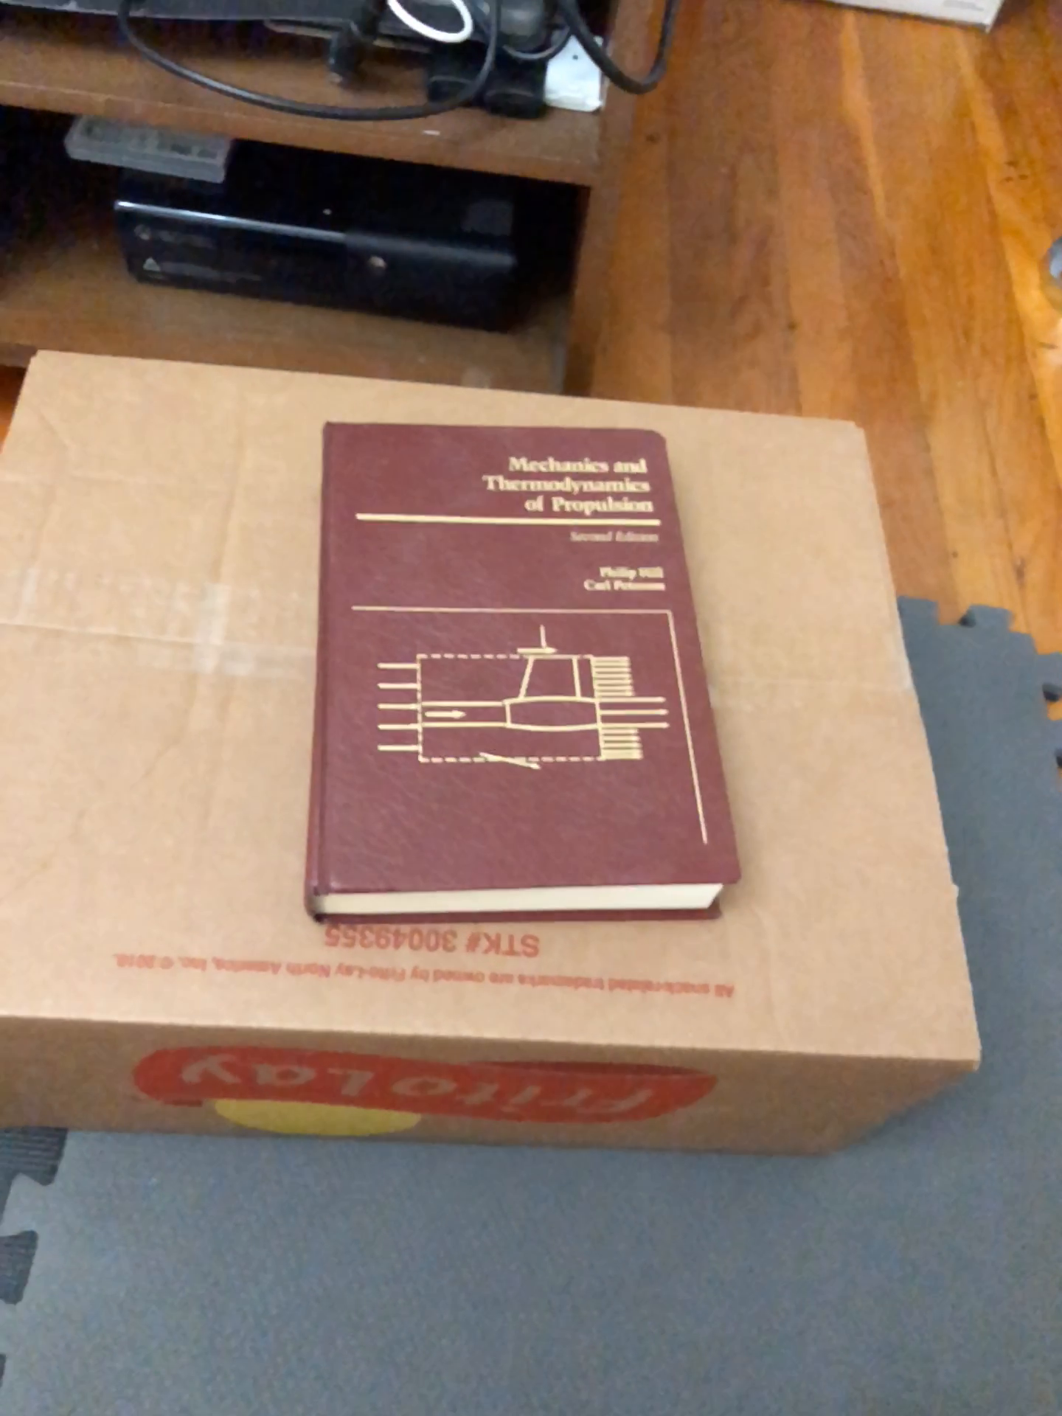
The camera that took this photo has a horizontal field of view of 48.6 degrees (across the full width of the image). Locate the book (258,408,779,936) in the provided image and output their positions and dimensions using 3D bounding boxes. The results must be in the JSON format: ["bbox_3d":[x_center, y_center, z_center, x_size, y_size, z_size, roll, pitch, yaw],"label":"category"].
[{"bbox_3d":[-0.009,-0.025,0.508,0.190,0.040,0.241,1,58,-6],"label":"book"}]
